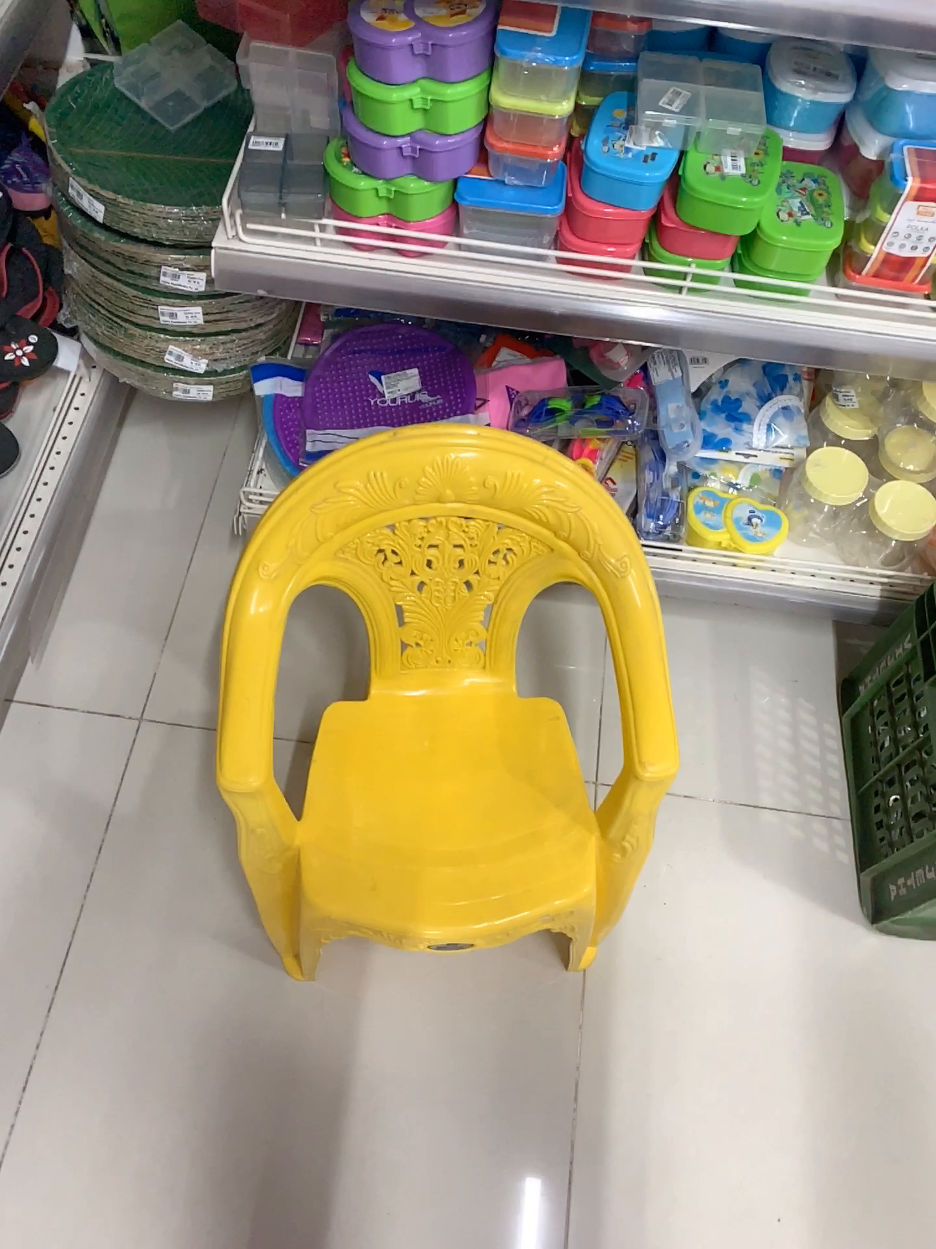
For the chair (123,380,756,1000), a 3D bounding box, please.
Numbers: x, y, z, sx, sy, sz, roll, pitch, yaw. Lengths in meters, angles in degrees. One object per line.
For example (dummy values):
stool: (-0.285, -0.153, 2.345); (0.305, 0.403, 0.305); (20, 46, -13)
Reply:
chair: (-0.030, 0.093, 0.940); (0.420, 0.450, 0.460); (0, 62, -3)
